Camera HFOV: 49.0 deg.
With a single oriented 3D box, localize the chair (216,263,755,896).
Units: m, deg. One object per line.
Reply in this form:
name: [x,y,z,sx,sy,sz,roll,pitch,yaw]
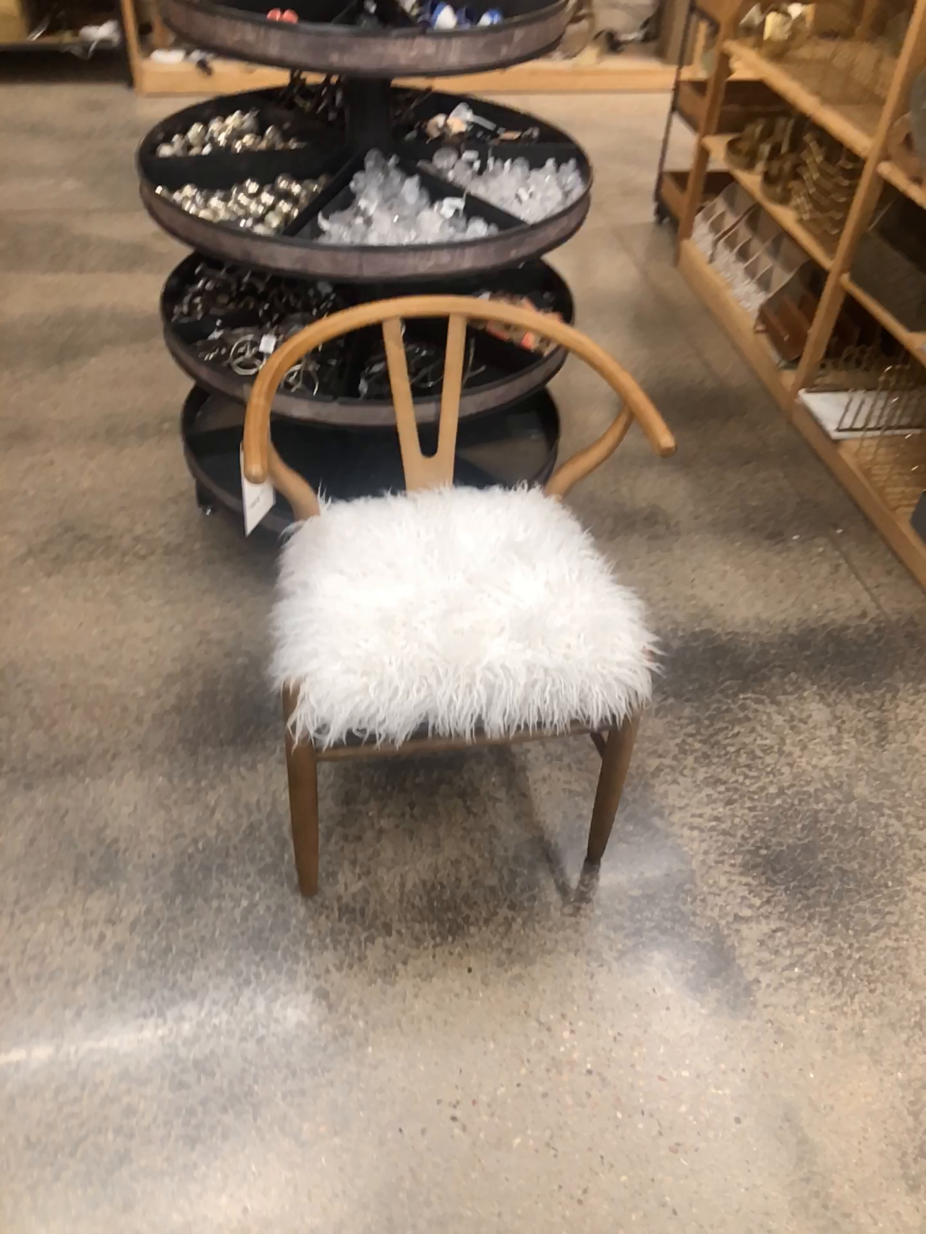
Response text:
chair: [-0.016,-0.046,1.481,0.557,0.732,0.531,-3,44,-7]
